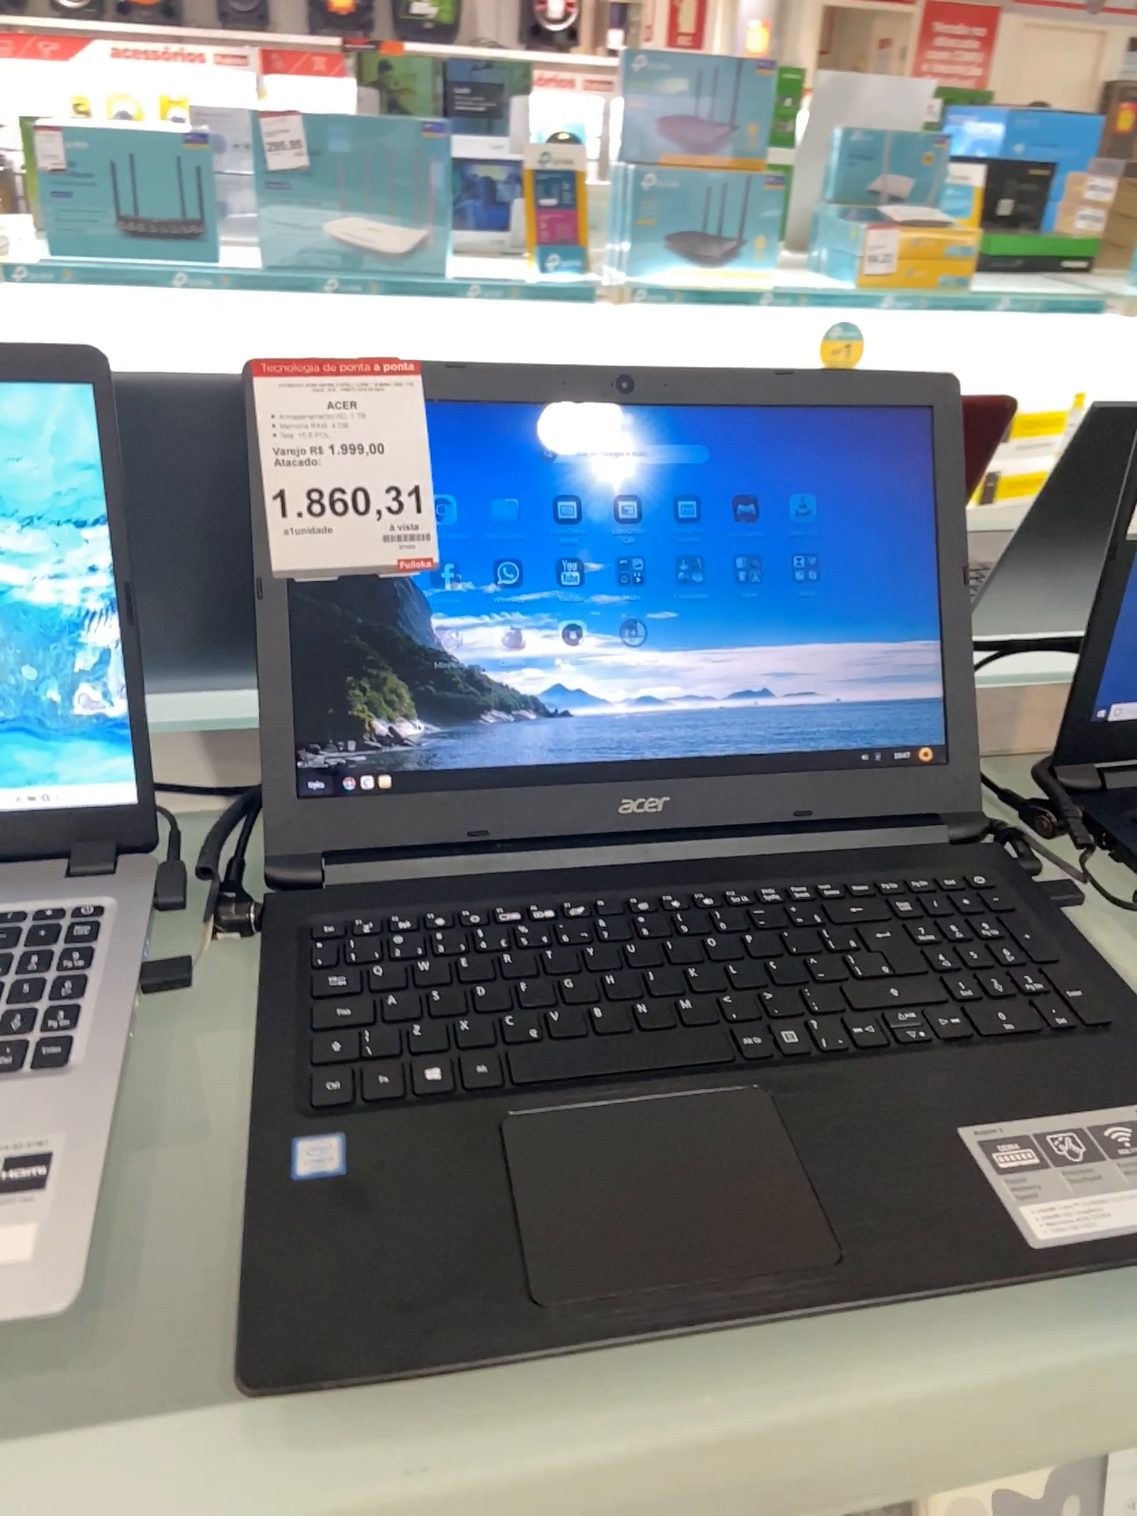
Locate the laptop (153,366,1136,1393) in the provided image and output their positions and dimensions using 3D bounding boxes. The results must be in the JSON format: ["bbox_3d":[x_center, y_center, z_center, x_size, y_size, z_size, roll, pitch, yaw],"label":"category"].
[{"bbox_3d":[0.059,-0.013,0.491,0.379,0.215,0.381,-3,30,-11],"label":"laptop"}]
